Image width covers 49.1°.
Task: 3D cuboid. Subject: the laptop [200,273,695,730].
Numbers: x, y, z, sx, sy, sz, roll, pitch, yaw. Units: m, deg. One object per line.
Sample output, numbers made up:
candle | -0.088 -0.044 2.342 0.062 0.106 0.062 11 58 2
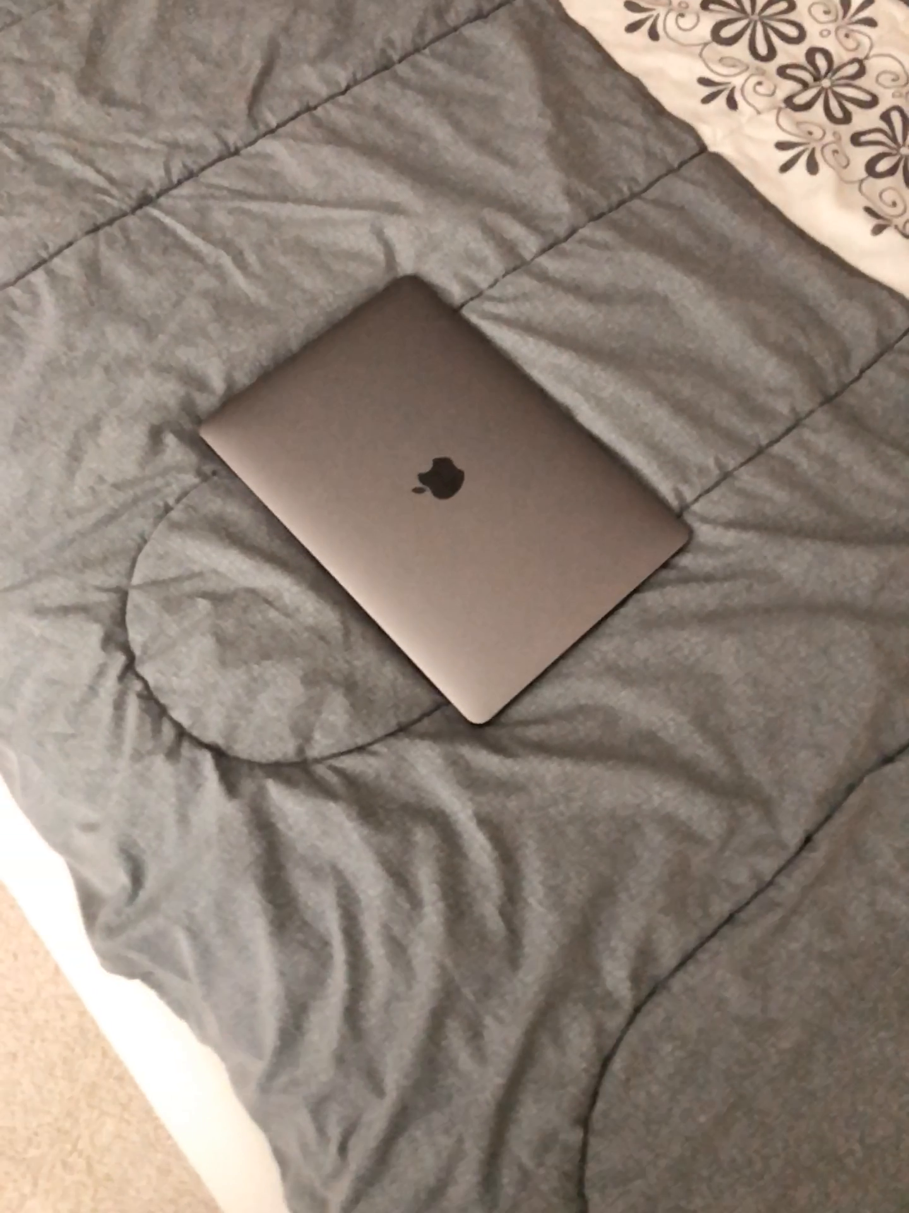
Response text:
laptop | -0.008 -0.089 0.712 0.207 0.008 0.295 -41 75 -14
